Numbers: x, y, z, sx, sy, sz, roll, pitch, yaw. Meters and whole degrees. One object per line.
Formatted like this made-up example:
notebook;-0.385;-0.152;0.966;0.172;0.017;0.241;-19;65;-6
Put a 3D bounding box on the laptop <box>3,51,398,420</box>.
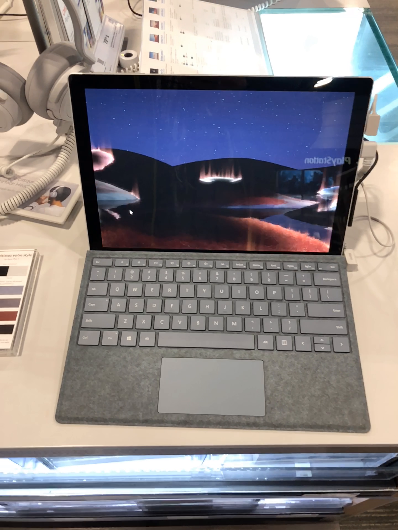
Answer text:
laptop;0.015;-0.027;0.403;0.261;0.143;0.284;1;60;5
